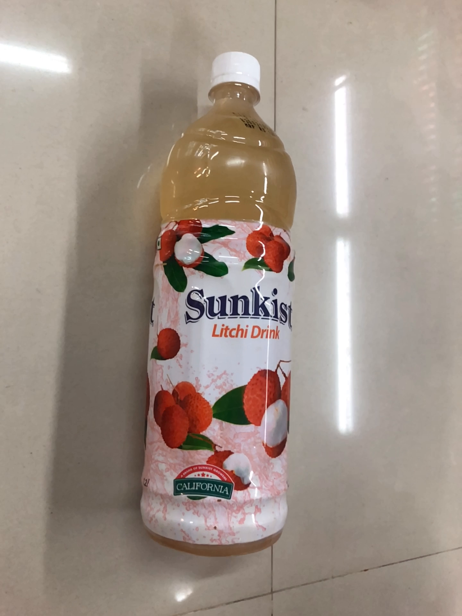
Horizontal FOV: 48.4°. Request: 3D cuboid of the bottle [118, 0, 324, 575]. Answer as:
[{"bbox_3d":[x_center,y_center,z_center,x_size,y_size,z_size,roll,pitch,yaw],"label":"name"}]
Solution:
[{"bbox_3d":[-0.008,-0.016,0.313,0.090,0.080,0.300,3,87,-24],"label":"bottle"}]
